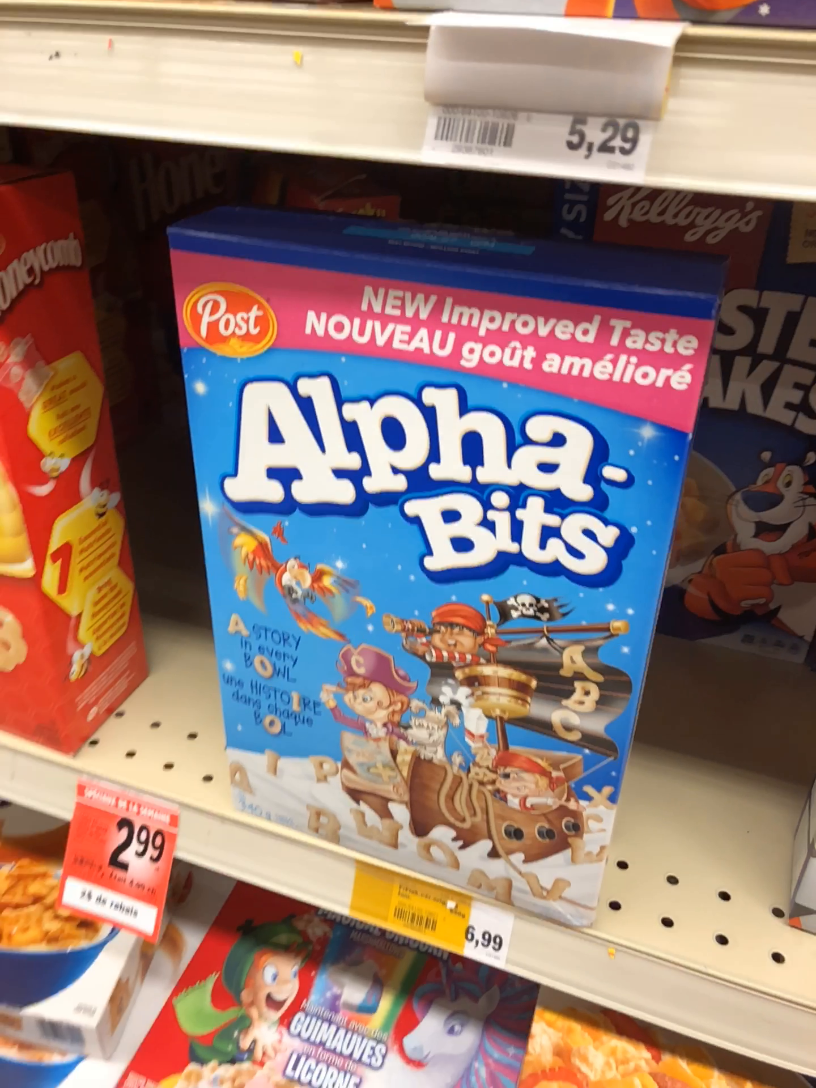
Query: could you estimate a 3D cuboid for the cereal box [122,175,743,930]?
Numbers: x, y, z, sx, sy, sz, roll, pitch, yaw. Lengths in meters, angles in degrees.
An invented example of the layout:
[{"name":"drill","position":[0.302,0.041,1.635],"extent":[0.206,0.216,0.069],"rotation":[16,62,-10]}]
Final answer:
[{"name":"cereal box","position":[0.003,0.016,0.385],"extent":[0.200,0.298,0.060],"rotation":[13,36,17]}]
